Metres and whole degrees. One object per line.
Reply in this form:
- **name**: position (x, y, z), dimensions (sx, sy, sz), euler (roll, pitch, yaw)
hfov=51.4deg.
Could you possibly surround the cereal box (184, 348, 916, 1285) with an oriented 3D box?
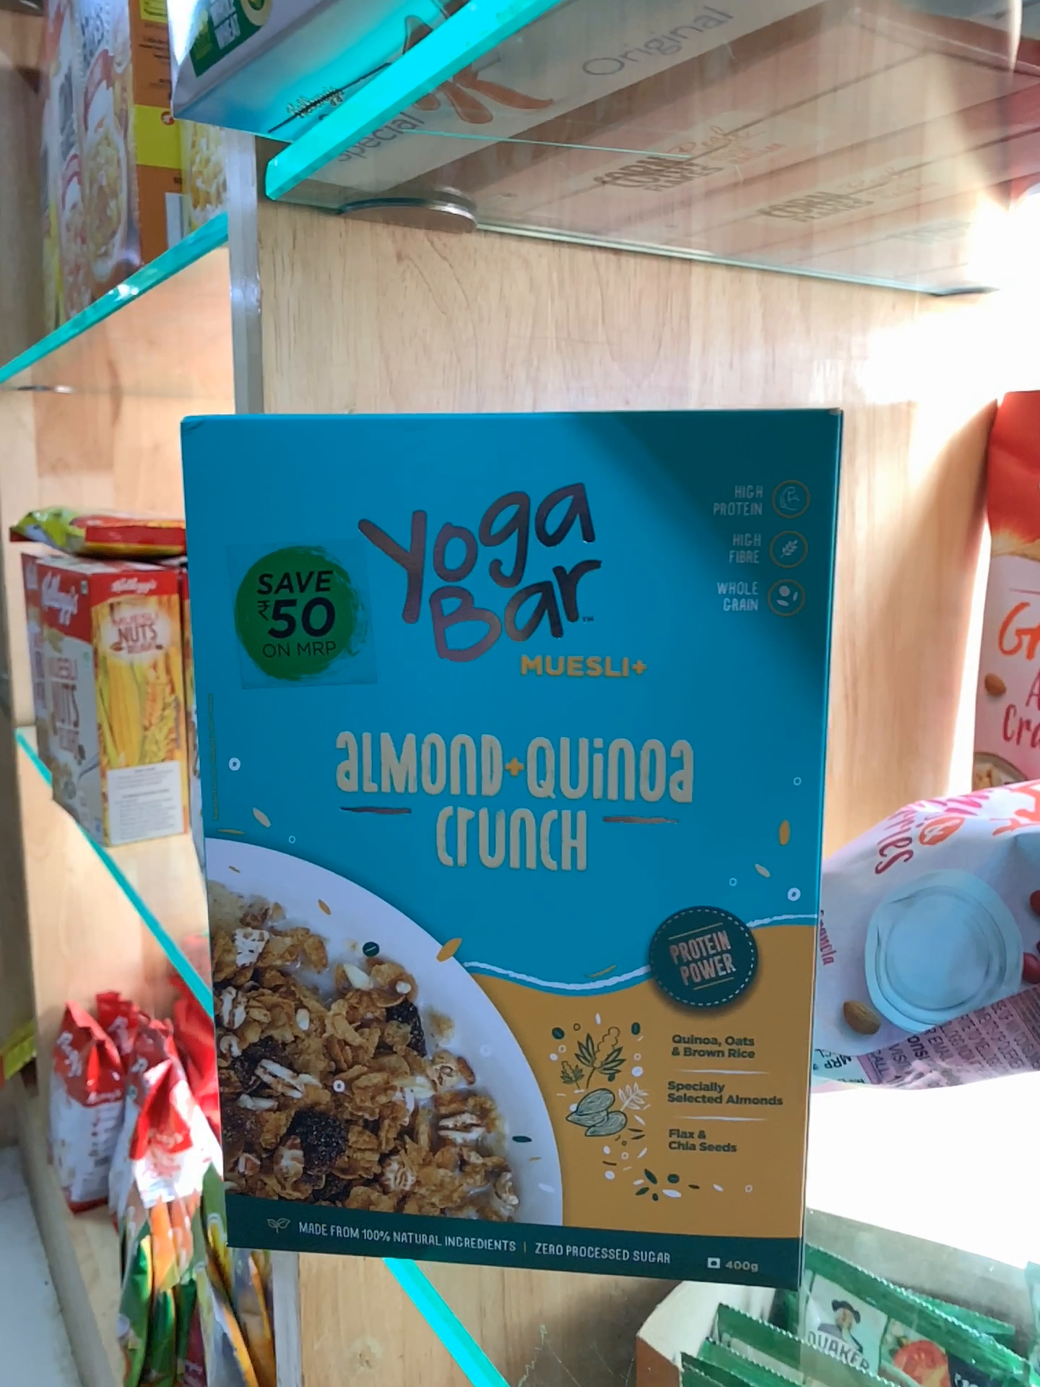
- **cereal box**: position (0.006, 0.028, 0.282), dimensions (0.160, 0.219, 0.060), euler (1, 9, 6)
